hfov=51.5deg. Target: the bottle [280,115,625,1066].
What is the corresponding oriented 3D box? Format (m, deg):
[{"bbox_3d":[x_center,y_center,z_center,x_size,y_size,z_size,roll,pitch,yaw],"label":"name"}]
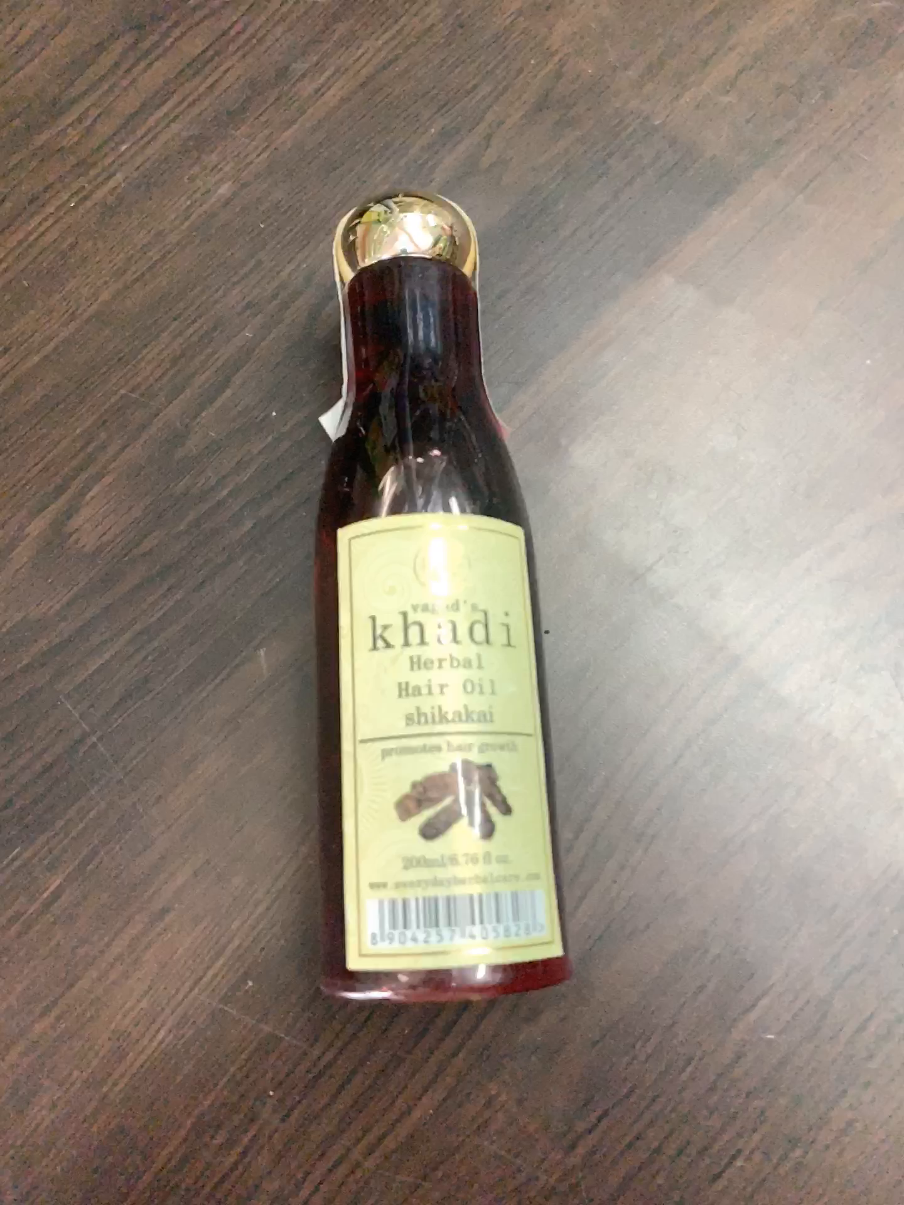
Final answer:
[{"bbox_3d":[-0.005,-0.008,0.185,0.050,0.050,0.170,-2,73,-3],"label":"bottle"}]
